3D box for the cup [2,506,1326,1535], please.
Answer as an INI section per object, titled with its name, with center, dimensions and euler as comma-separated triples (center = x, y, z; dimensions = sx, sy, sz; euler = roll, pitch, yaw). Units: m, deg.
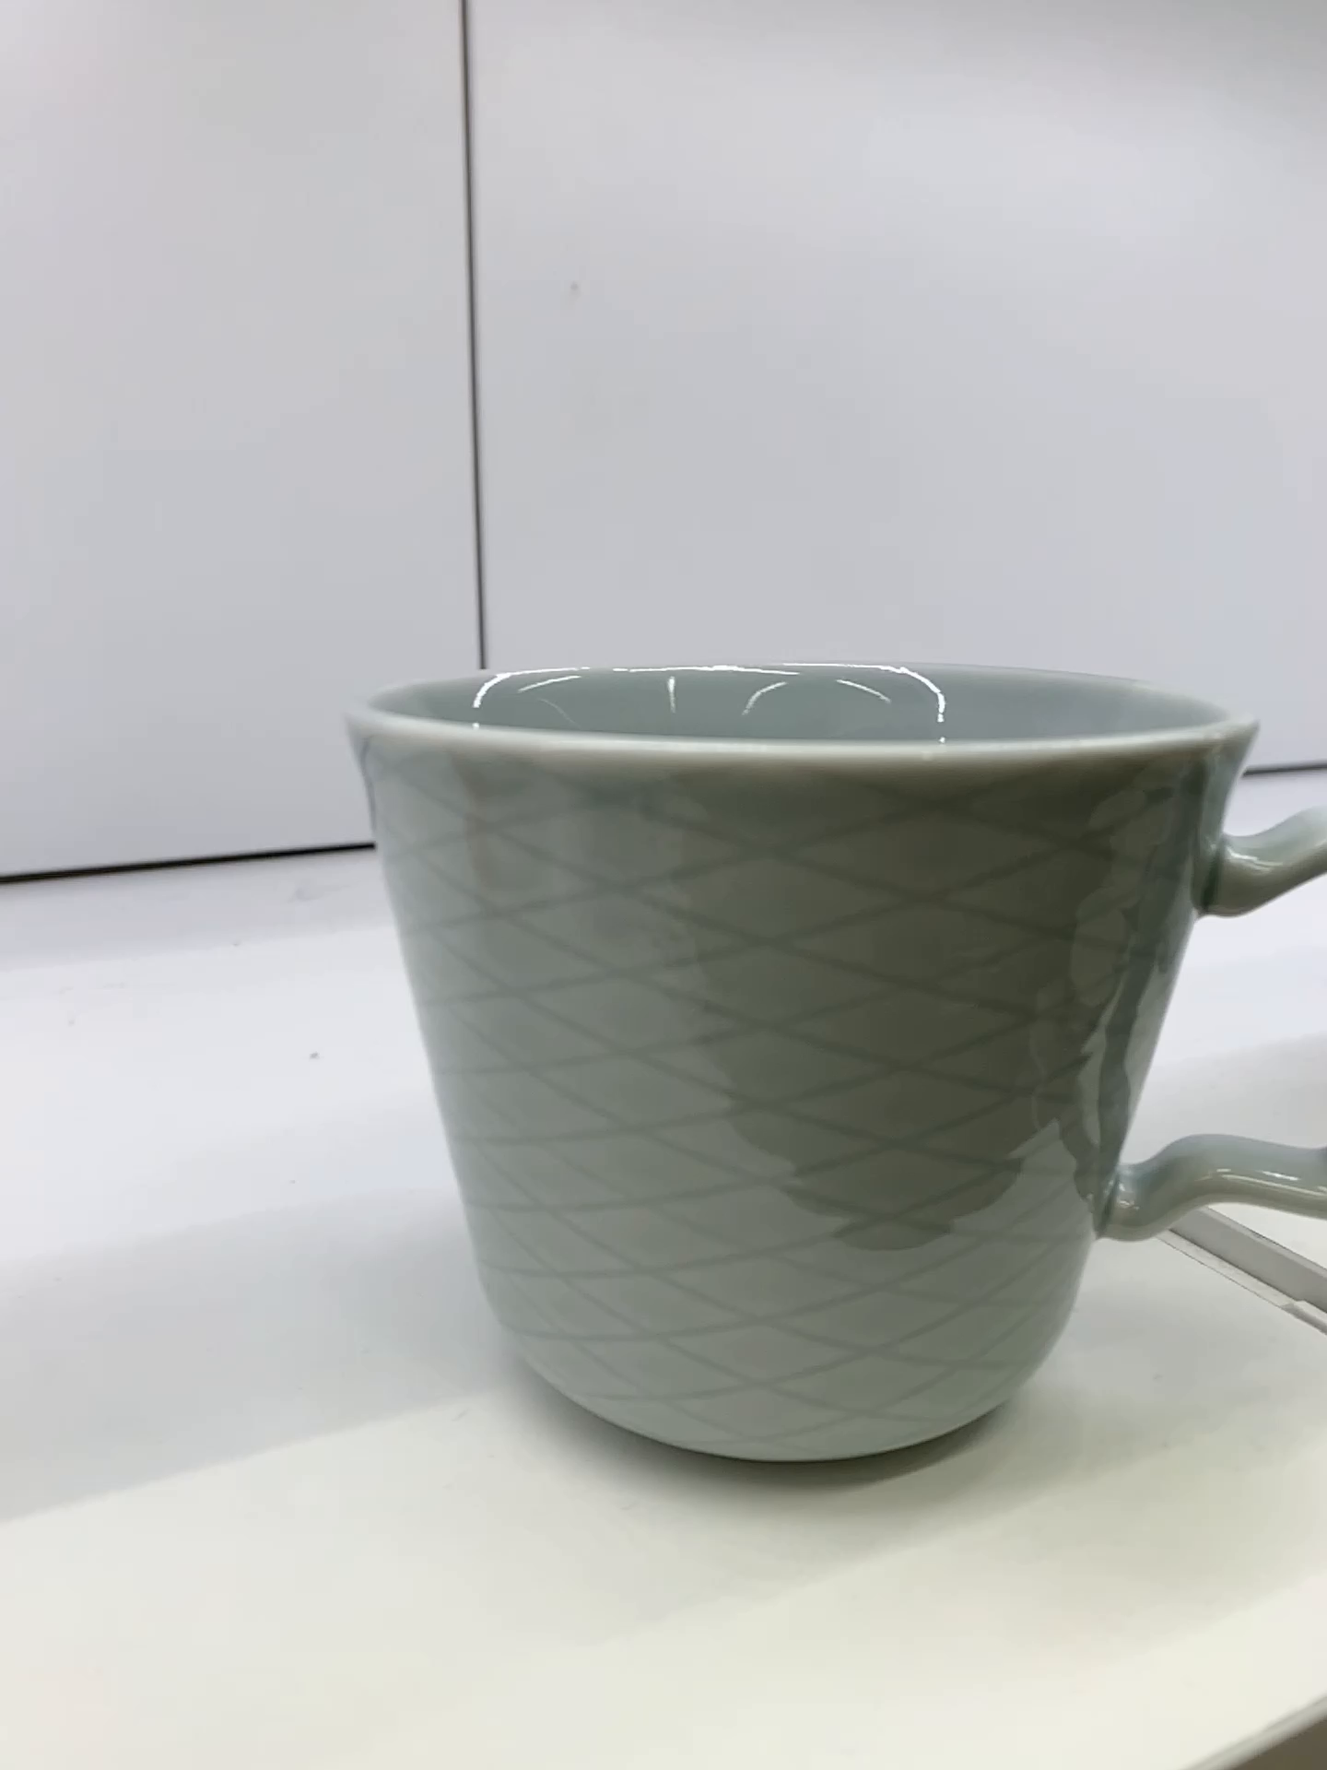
[cup]
center = 0.015, 0.005, 0.174
dimensions = 0.124, 0.089, 0.109
euler = -4, 15, 7
